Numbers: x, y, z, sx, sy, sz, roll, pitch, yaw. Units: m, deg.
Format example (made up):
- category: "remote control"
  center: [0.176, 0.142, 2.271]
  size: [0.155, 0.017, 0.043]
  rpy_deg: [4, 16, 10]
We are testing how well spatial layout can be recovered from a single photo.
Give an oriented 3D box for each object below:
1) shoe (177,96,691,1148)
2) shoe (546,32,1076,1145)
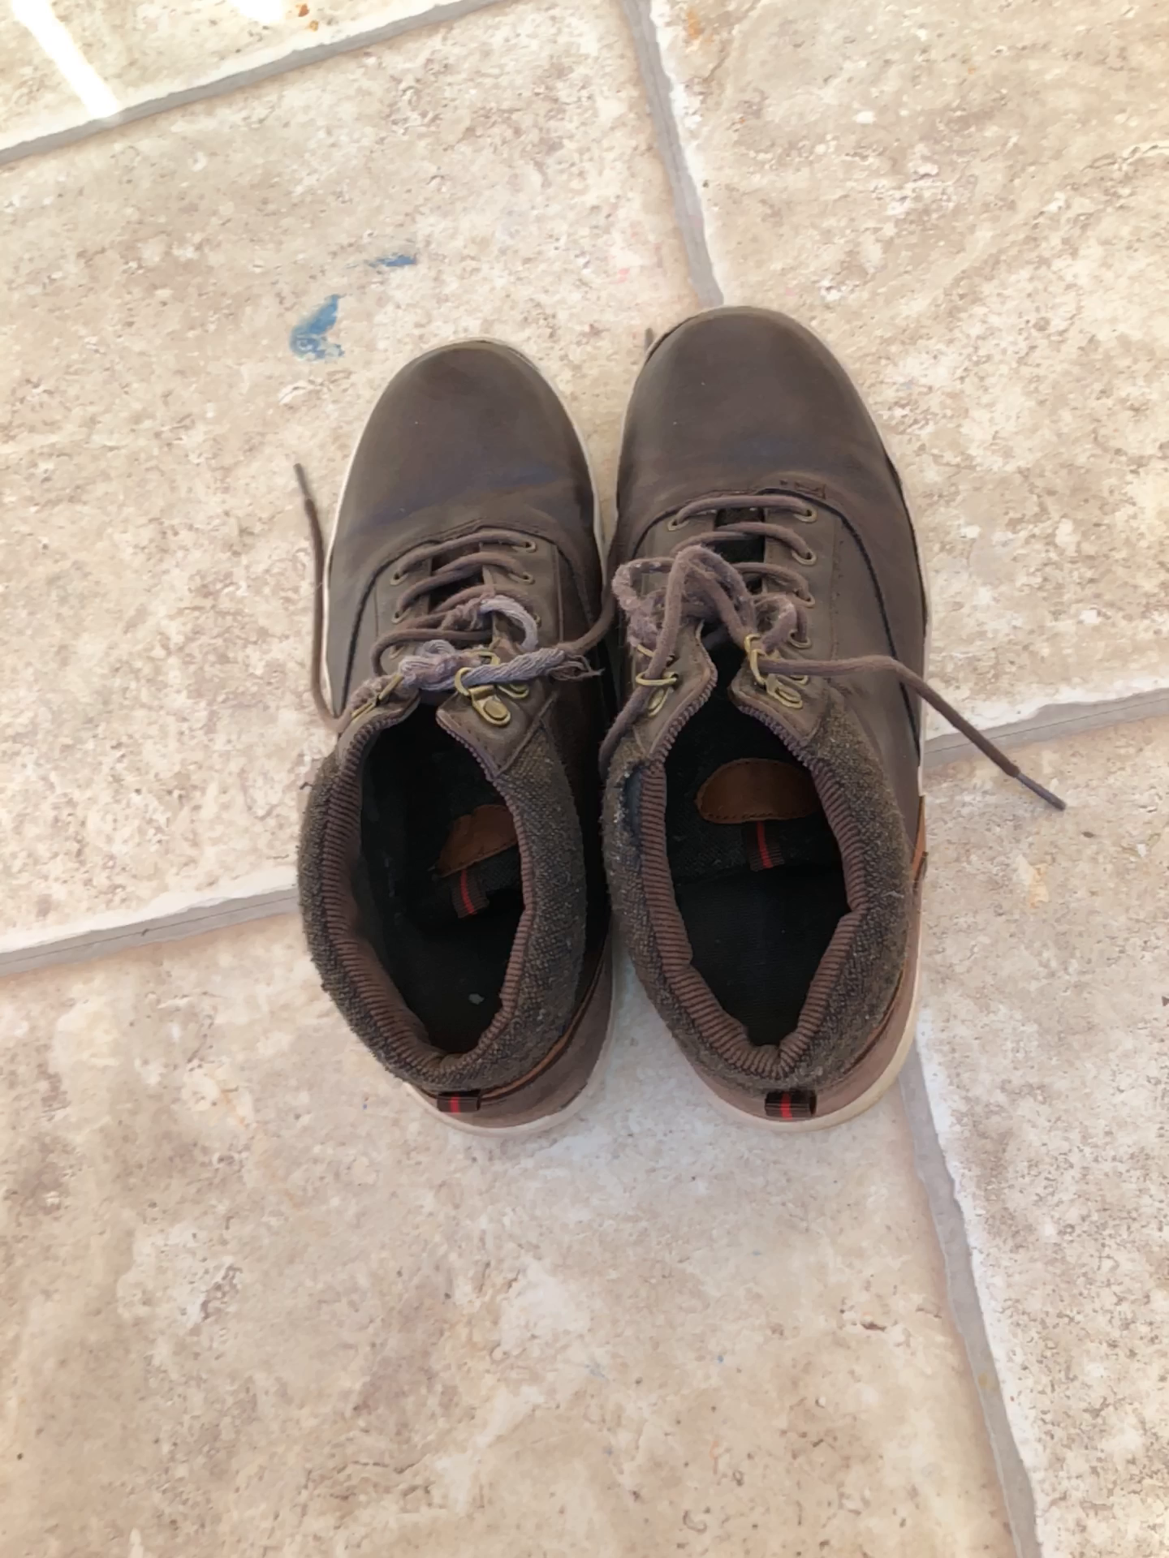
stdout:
- category: "shoe"
  center: [-0.042, -0.039, 0.430]
  size: [0.110, 0.150, 0.301]
  rpy_deg: [-7, 72, 10]
- category: "shoe"
  center: [0.063, -0.045, 0.406]
  size: [0.110, 0.150, 0.301]
  rpy_deg: [-6, 72, 11]
